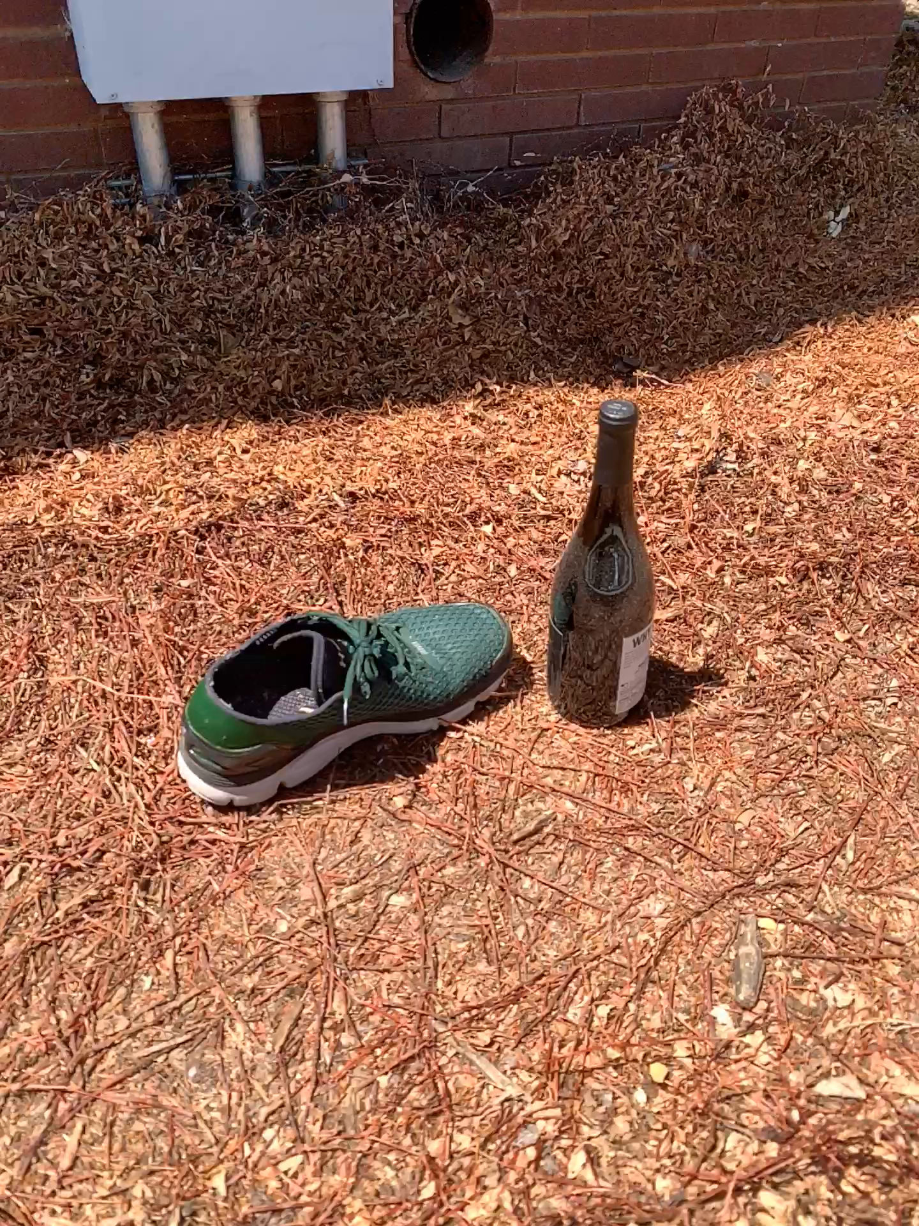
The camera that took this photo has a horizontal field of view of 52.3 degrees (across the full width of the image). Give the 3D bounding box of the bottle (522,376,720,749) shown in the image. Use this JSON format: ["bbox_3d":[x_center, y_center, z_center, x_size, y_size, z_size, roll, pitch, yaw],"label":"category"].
[{"bbox_3d":[0.120,-0.032,0.735,0.090,0.268,0.100,17,43,16],"label":"bottle"}]
